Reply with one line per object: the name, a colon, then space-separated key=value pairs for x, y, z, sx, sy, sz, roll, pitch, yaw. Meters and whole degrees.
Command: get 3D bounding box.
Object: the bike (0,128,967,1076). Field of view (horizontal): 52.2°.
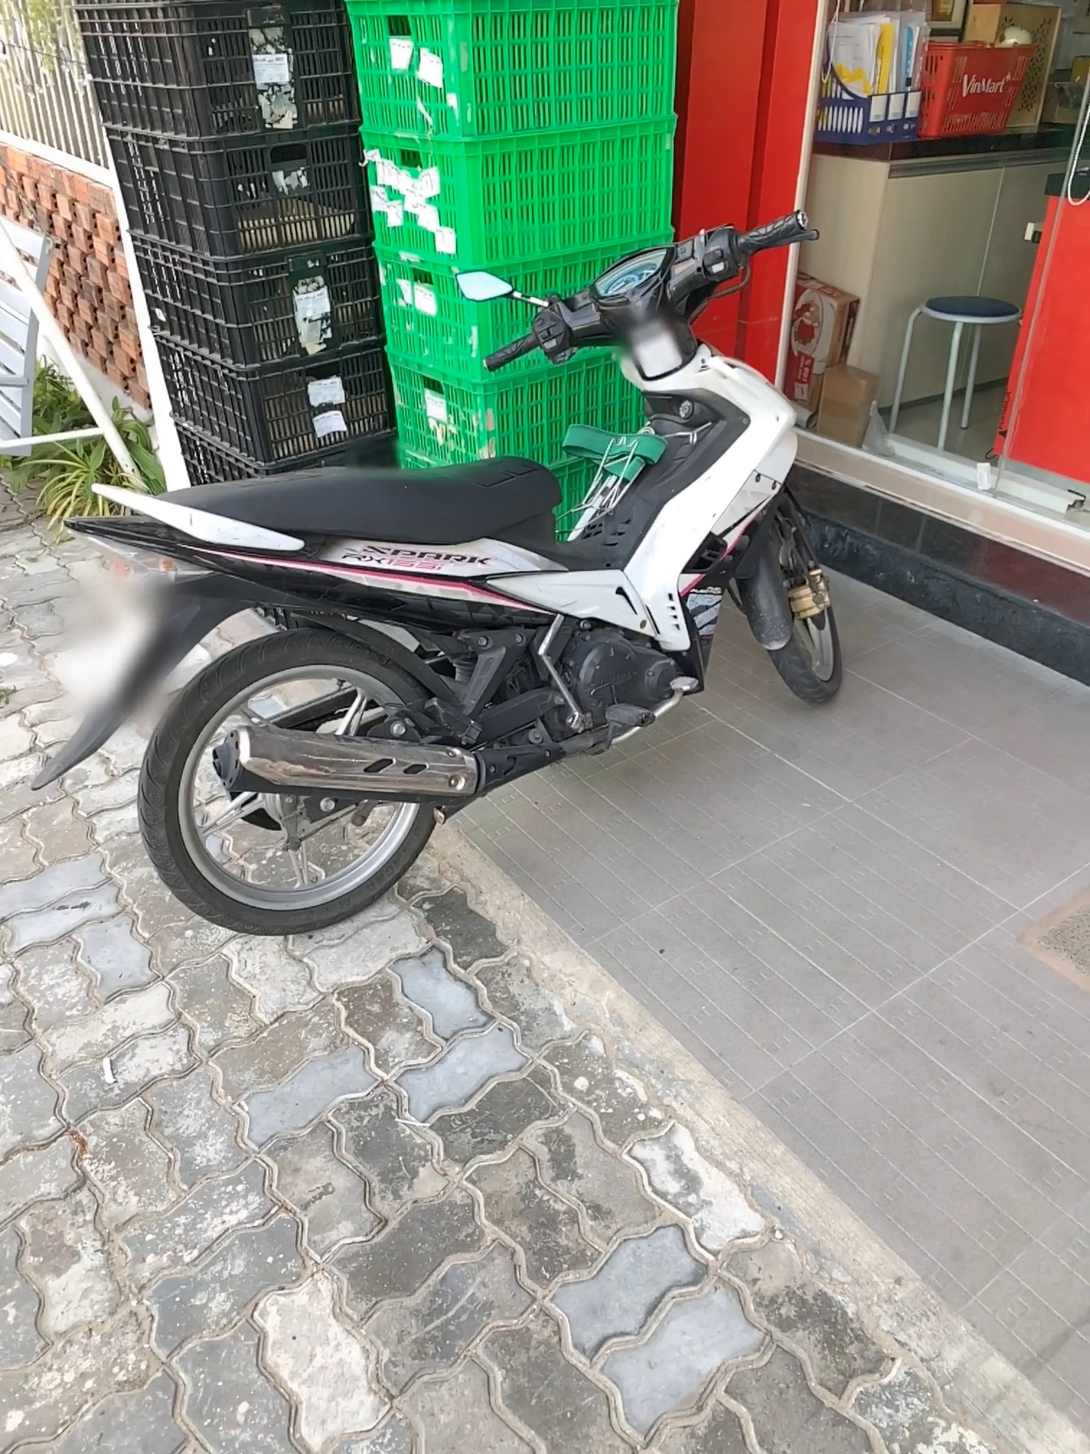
bike: x=-0.035 y=-0.425 z=2.263 sx=1.818 sy=1.186 sz=0.669 roll=-27 pitch=41 yaw=-33
